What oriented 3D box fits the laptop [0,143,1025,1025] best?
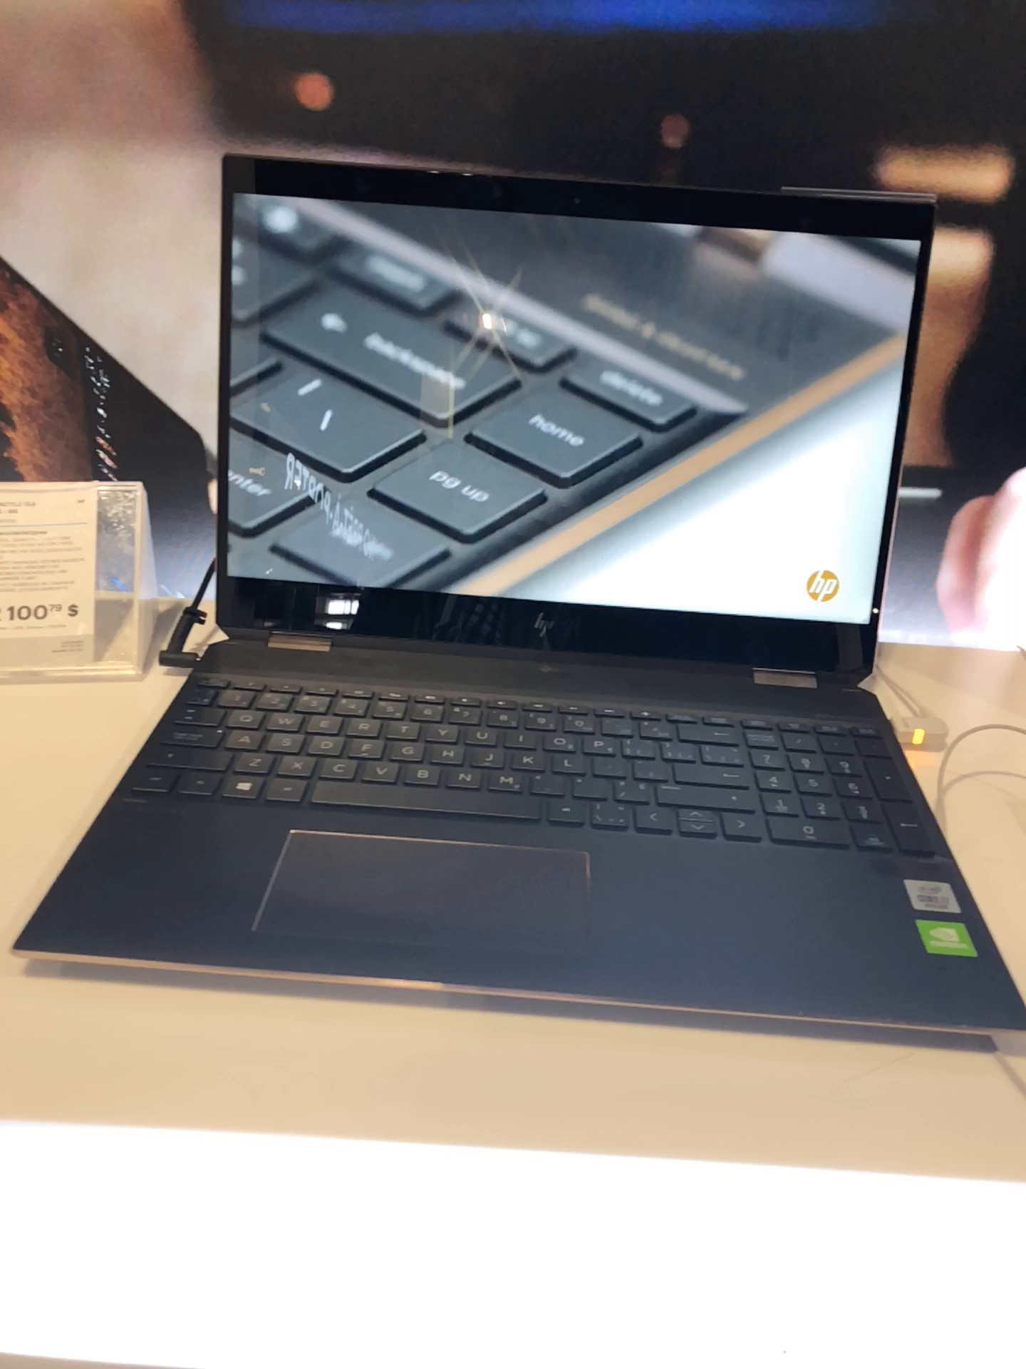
[{"bbox_3d":[0.017,-0.075,0.460,0.332,0.226,0.323,5,27,-2],"label":"laptop"}]
